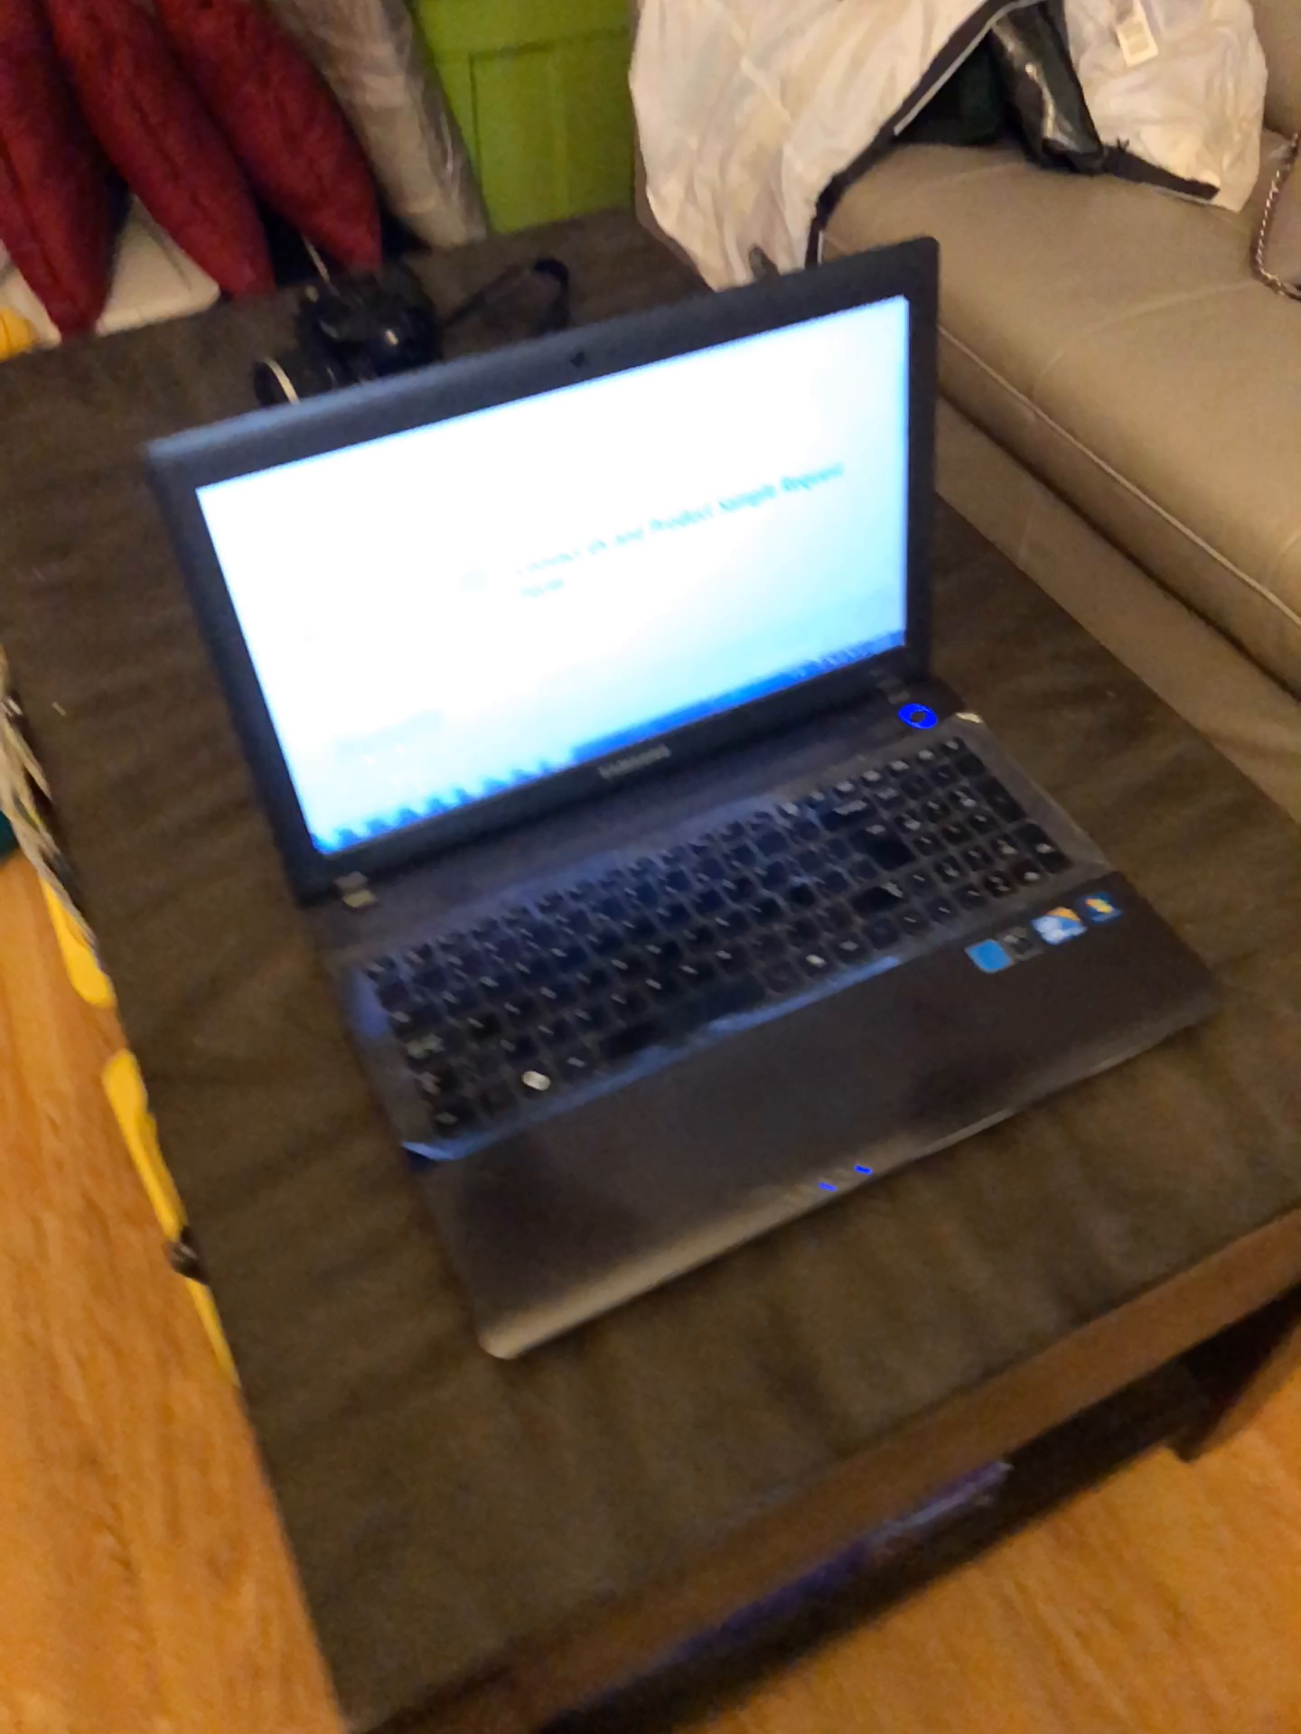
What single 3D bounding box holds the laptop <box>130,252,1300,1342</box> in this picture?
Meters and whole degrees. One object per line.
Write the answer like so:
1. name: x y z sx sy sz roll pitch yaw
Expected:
1. laptop: 0.031 -0.052 0.620 0.367 0.231 0.309 -22 52 -17
